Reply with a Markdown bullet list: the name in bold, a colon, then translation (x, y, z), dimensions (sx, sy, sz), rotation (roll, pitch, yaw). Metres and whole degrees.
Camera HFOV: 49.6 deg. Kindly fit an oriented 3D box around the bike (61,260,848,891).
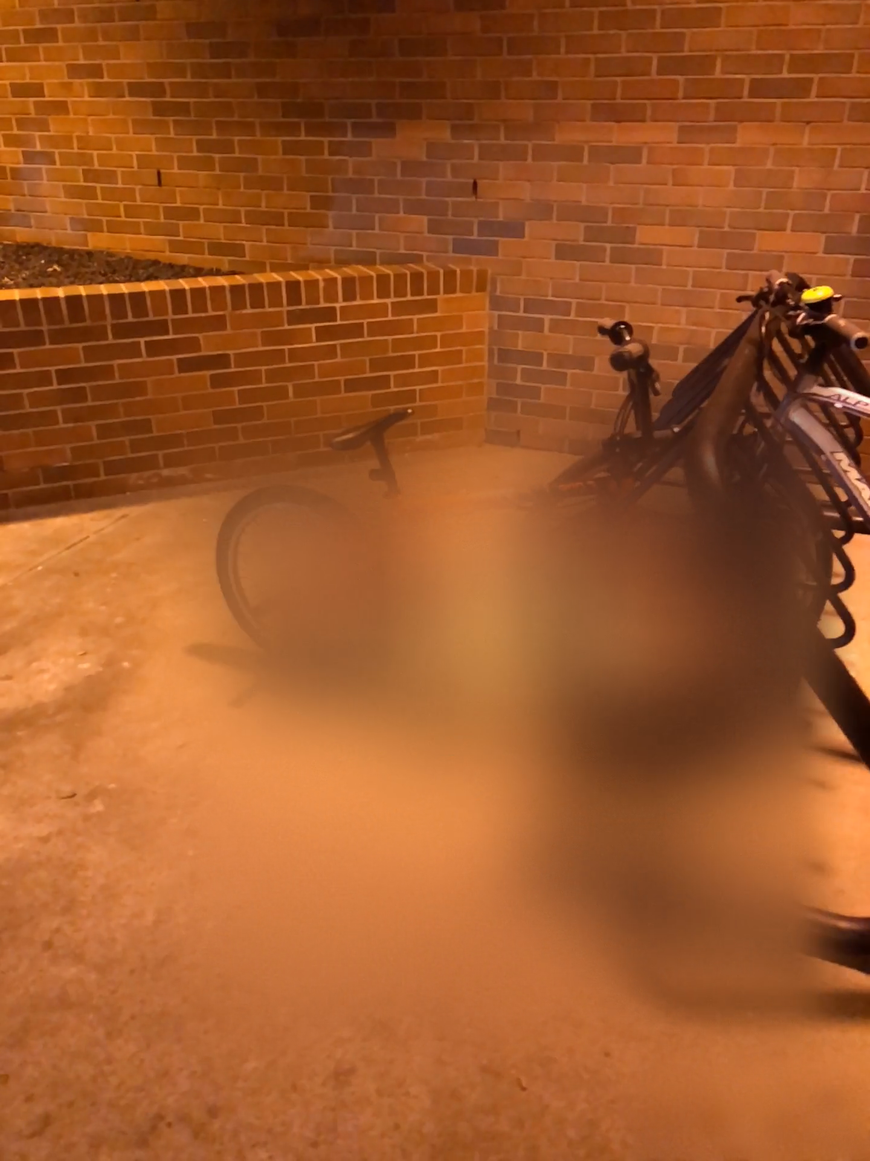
- **bike**: translation (0.068, -0.122, 1.979), dimensions (1.291, 0.927, 0.747), rotation (10, 28, 21)
